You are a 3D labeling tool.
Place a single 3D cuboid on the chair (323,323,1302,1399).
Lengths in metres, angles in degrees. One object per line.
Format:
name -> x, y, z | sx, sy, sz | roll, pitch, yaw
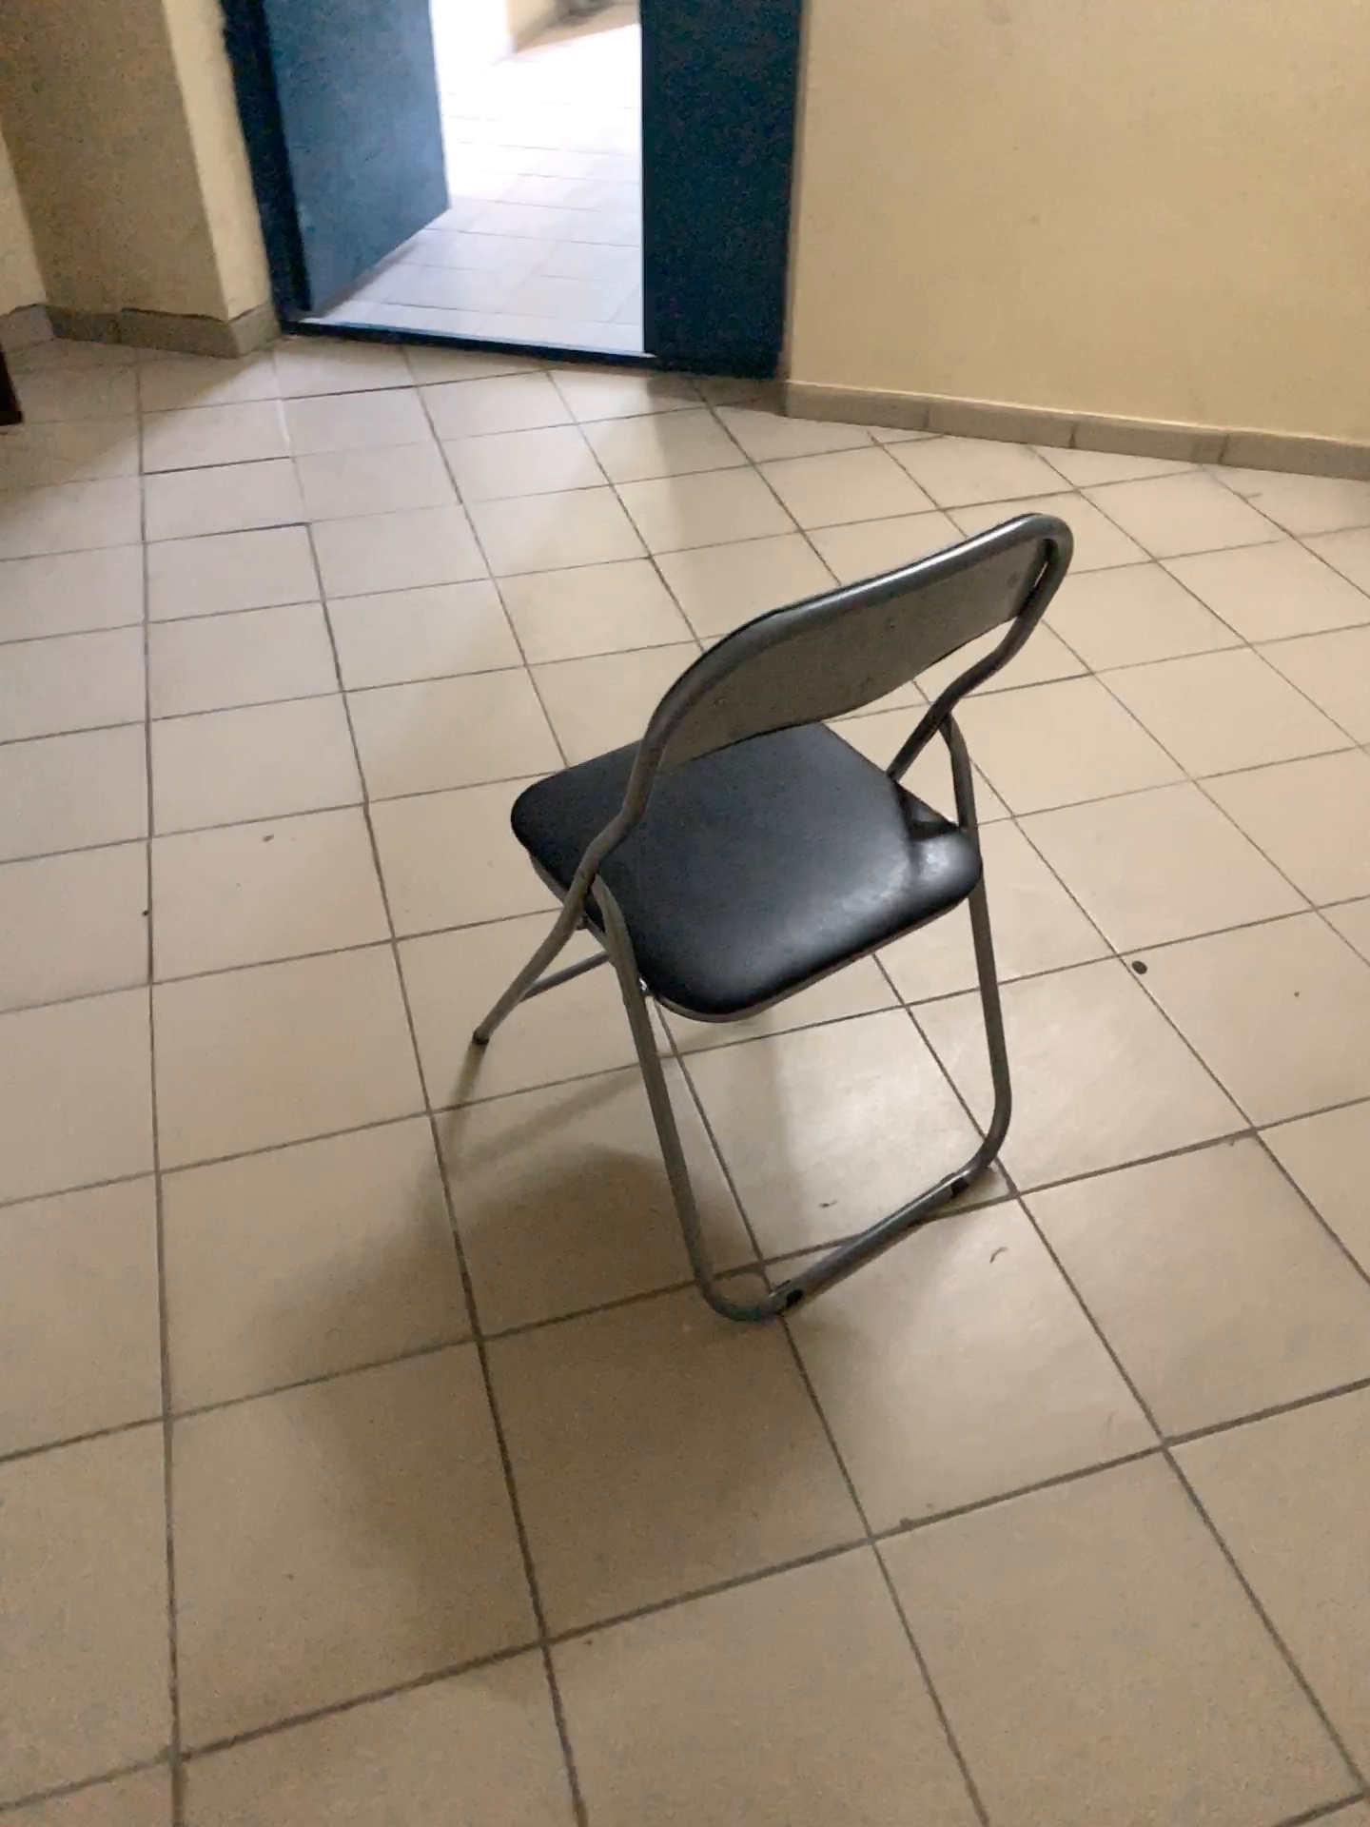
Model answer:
chair -> 0.079, -0.071, 1.372 | 0.571, 0.727, 0.562 | -23, 47, -25
